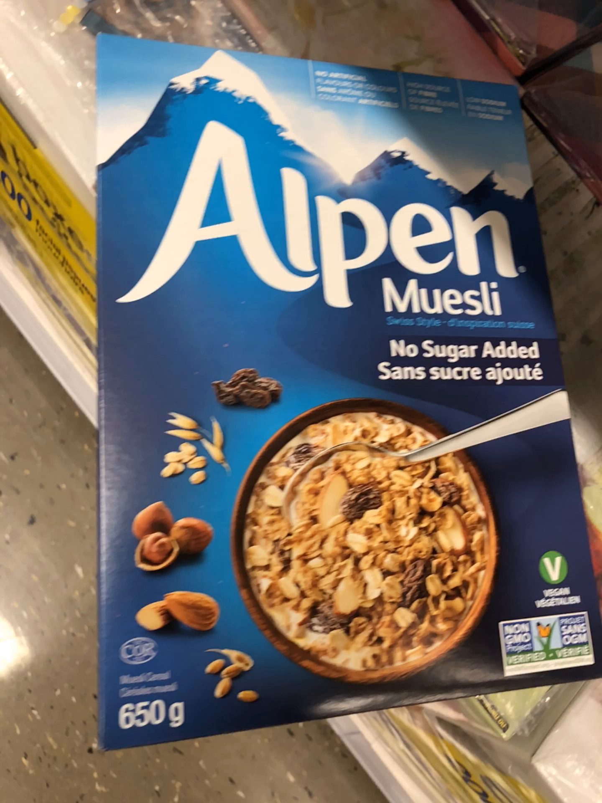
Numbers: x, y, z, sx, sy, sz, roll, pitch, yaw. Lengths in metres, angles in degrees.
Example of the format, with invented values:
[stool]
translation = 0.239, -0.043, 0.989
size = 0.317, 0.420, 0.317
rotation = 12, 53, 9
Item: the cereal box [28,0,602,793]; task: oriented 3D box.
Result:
[cereal box]
translation = 0.009, -0.015, 0.254
size = 0.200, 0.050, 0.250
rotation = -1, 78, -16
